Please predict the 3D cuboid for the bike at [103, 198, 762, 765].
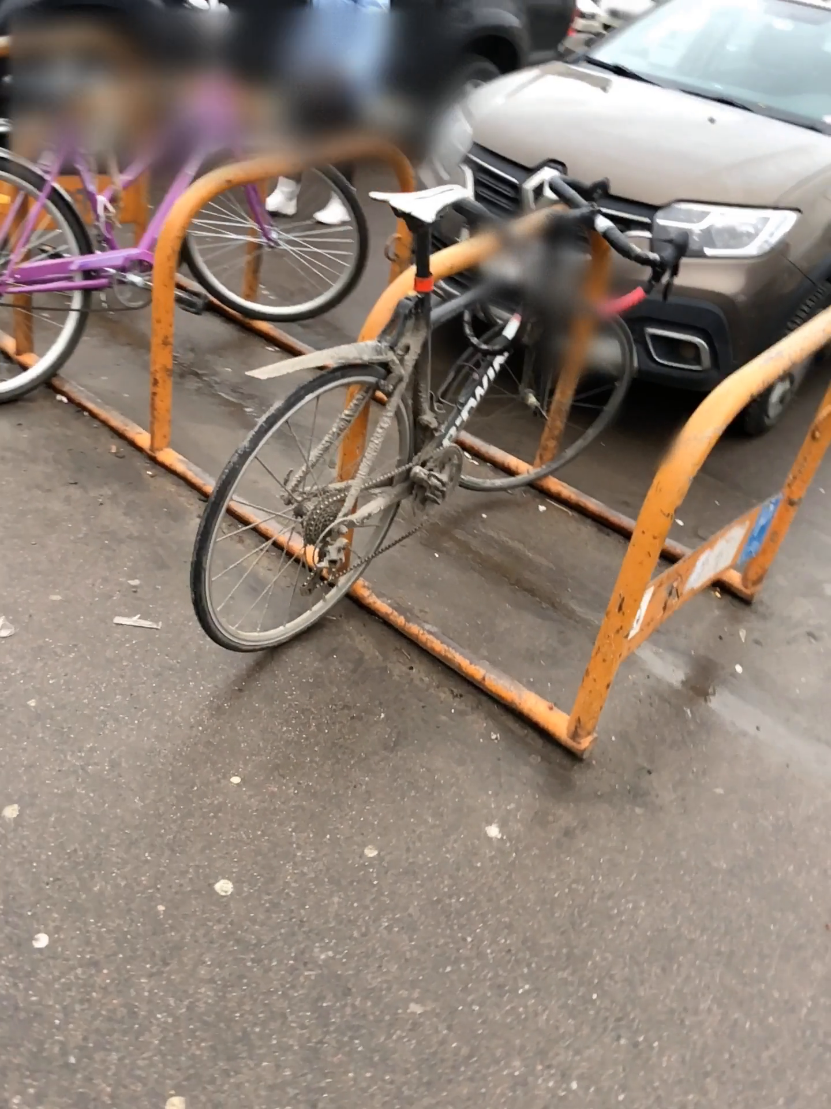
[{"bbox_3d":[0.110,-0.300,2.091,0.490,0.761,1.521,33,40,29],"label":"bike"}]
